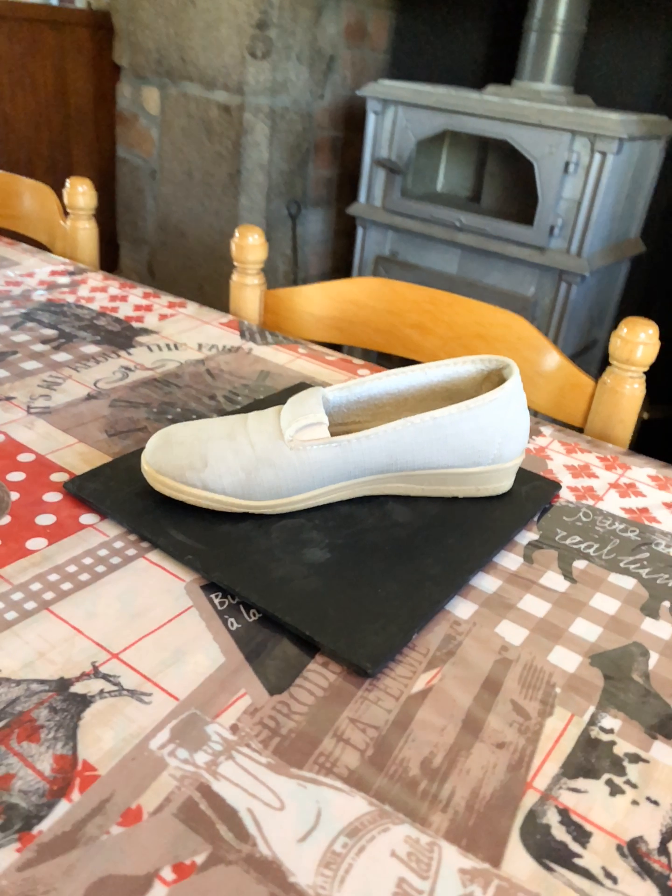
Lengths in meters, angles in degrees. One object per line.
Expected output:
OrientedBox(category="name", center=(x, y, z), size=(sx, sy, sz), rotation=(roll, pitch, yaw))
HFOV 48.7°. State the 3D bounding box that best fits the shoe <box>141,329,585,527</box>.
OrientedBox(category="shoe", center=(0.009, -0.016, 0.465), size=(0.250, 0.080, 0.100), rotation=(0, 28, -13))
